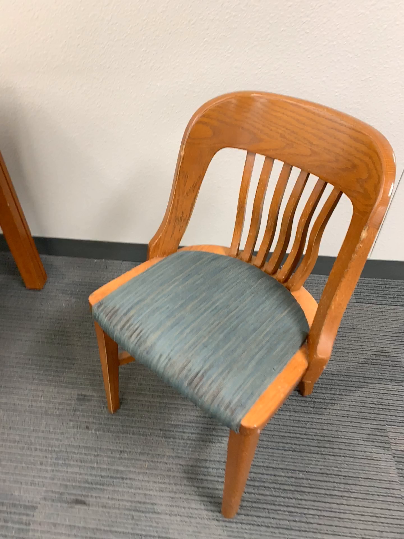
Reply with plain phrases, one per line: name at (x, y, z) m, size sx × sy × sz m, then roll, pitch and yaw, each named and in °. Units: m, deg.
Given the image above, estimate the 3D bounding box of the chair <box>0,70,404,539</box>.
chair at (0.044, 0.063, 0.984) m, size 0.551 × 0.747 × 0.621 m, roll 31°, pitch 52°, yaw 28°
